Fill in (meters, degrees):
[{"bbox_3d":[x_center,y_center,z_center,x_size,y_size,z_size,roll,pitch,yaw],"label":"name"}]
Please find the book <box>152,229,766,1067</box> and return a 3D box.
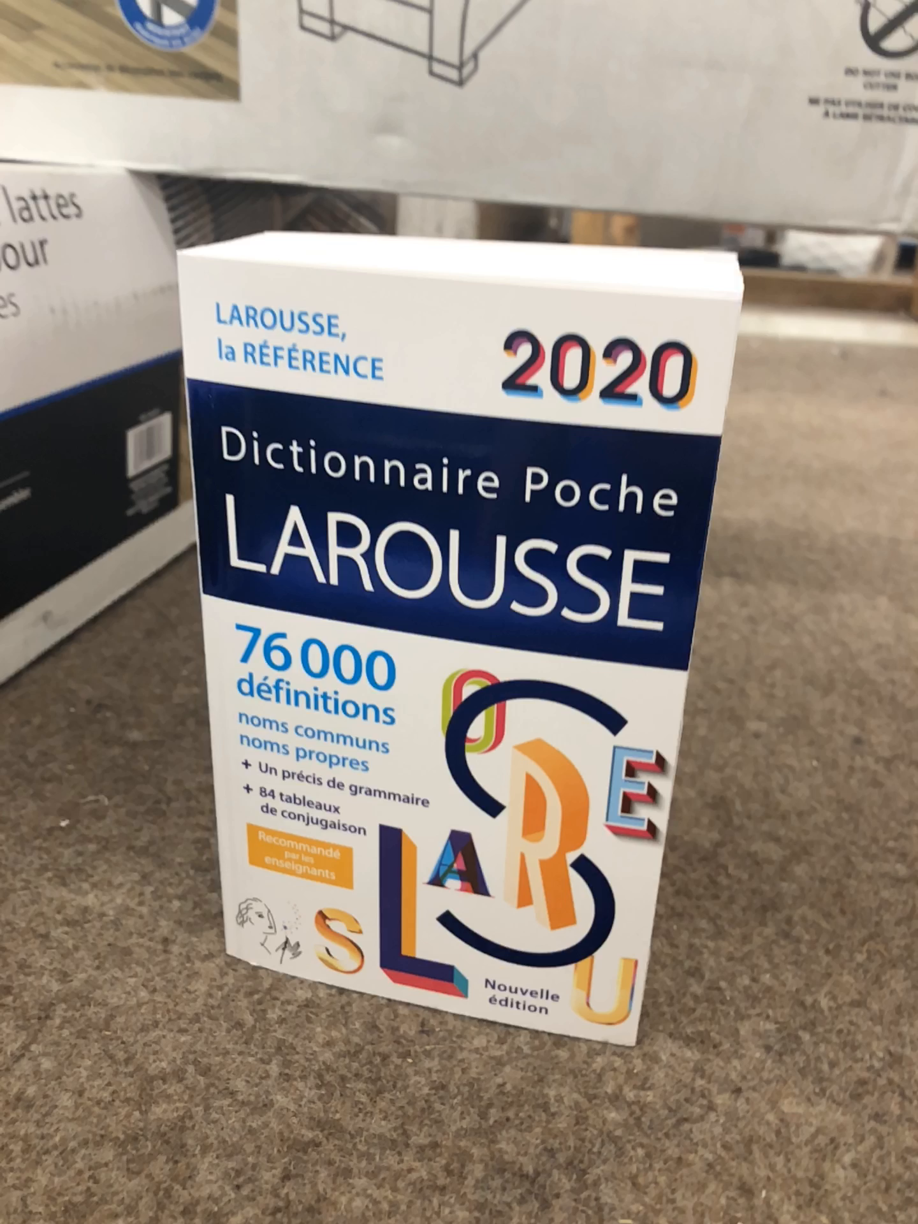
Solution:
[{"bbox_3d":[0.001,0.007,0.242,0.111,0.173,0.061,8,25,12],"label":"book"}]
